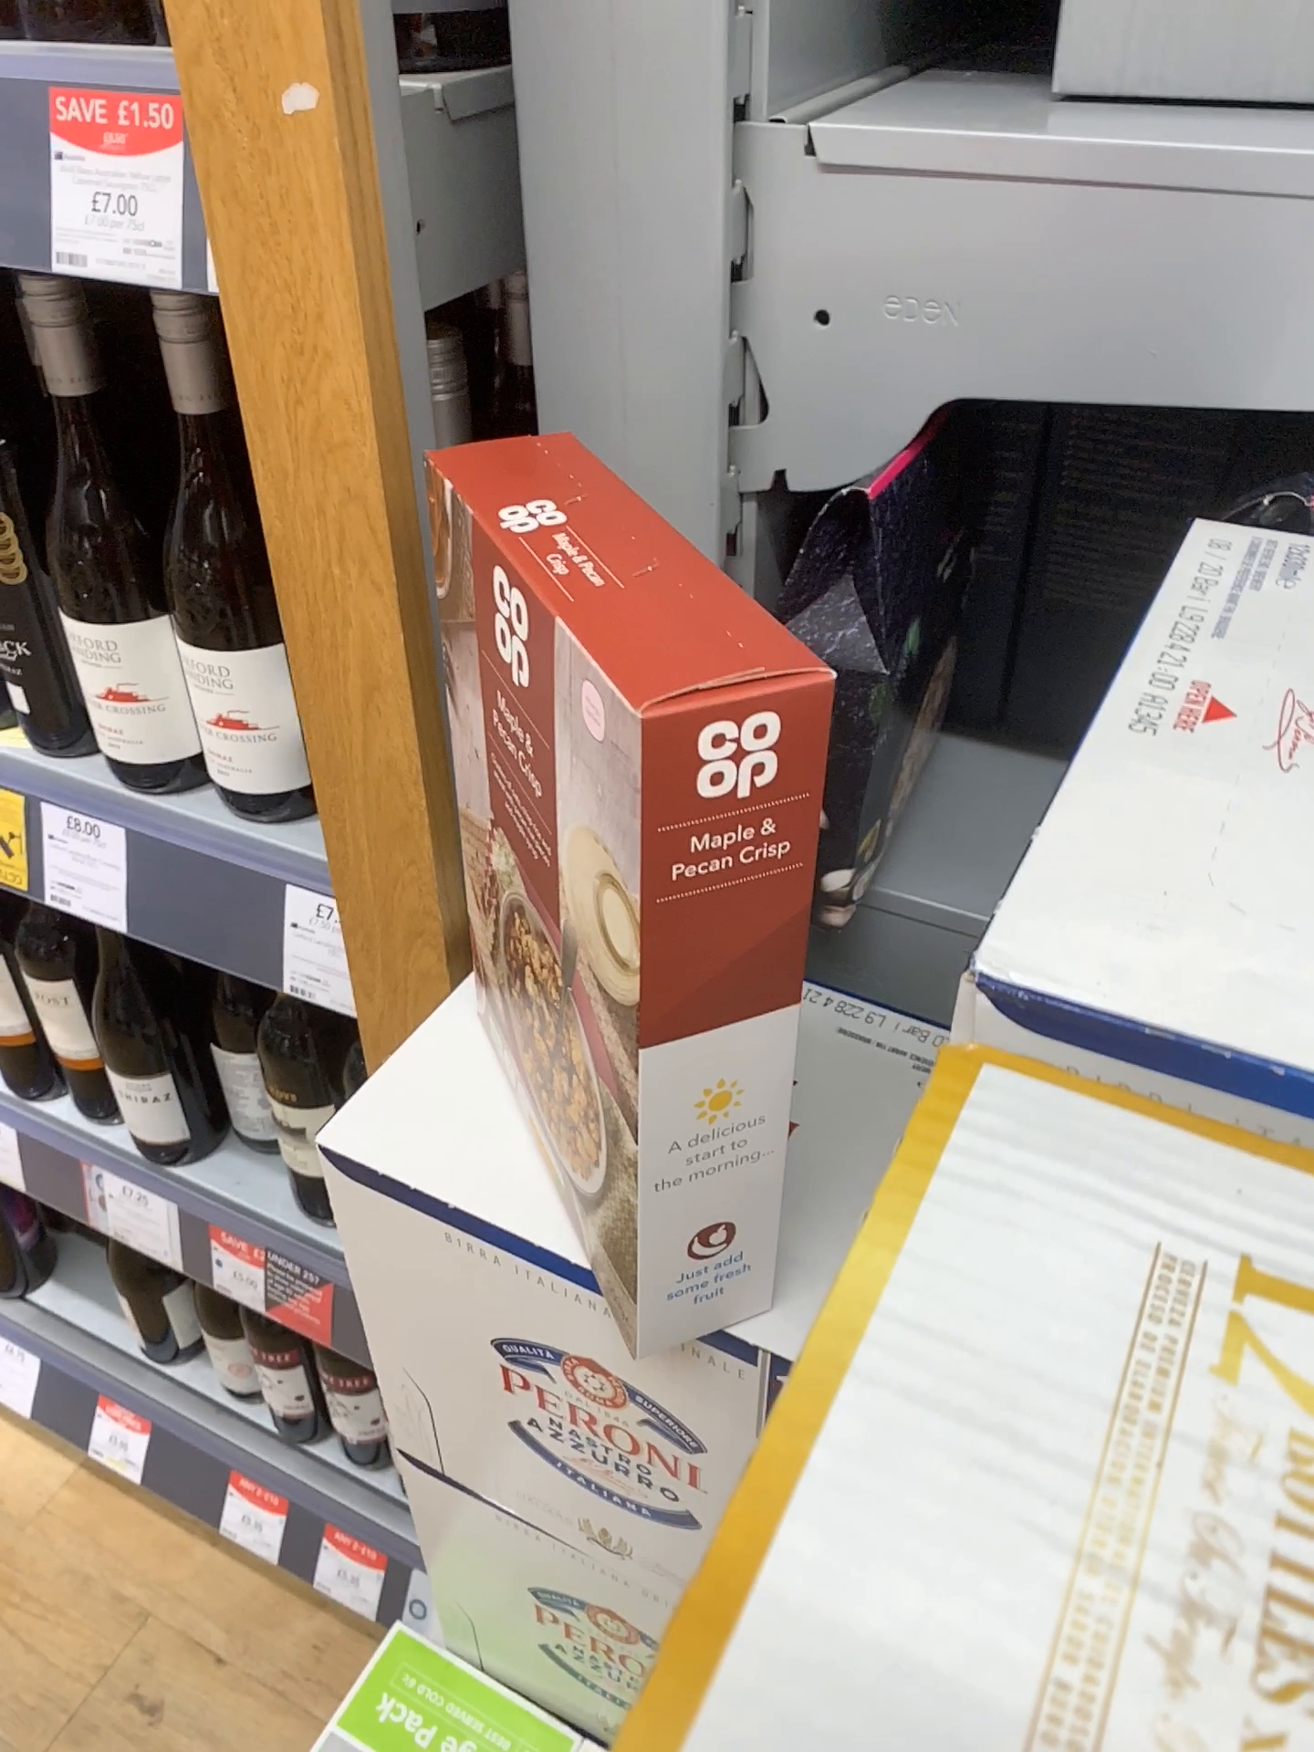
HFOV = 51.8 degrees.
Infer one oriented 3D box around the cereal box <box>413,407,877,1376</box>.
[{"bbox_3d":[-0.015,0.004,0.438,0.060,0.247,0.182,-14,39,-19],"label":"cereal box"}]
